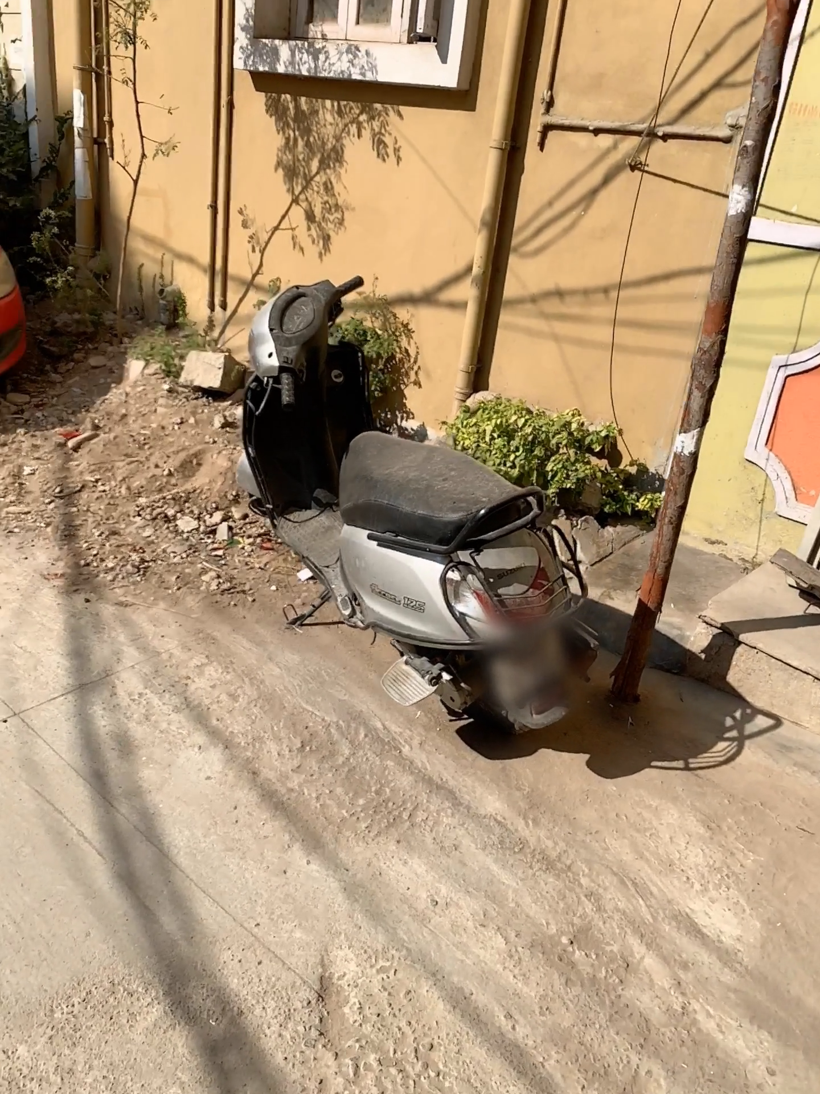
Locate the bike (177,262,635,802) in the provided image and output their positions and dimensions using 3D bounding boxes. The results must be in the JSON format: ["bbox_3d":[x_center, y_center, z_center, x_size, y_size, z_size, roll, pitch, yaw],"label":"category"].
[{"bbox_3d":[-0.178,-0.201,2.500,0.550,1.001,1.514,-10,30,-32],"label":"bike"}]
